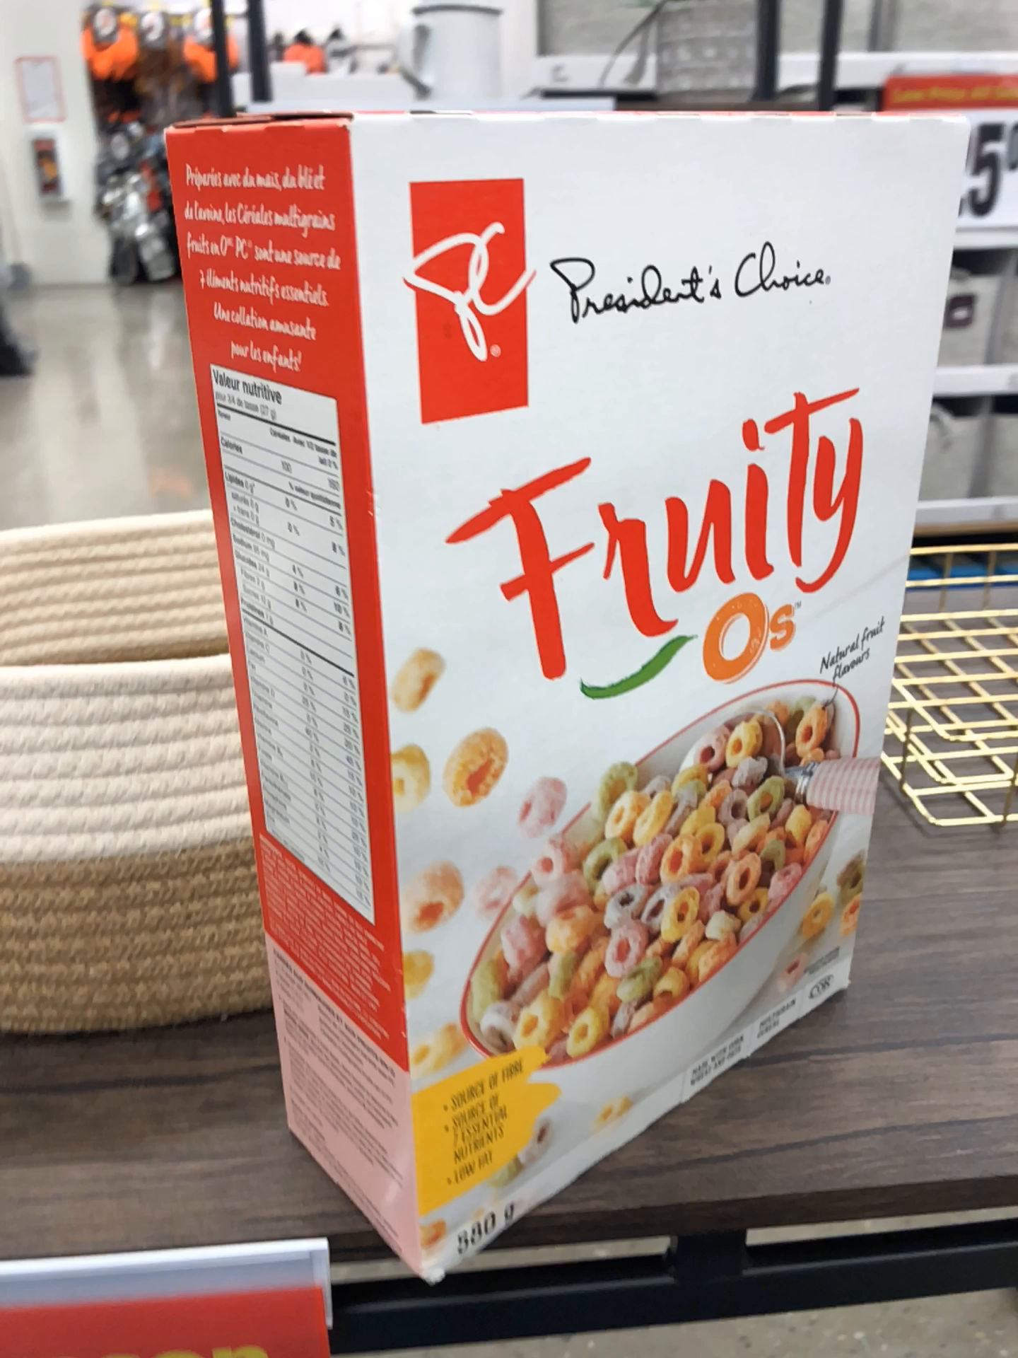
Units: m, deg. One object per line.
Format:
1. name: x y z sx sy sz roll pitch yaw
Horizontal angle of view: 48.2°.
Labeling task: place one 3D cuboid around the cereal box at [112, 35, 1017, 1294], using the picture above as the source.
1. cereal box: 0.032 -0.014 0.322 0.220 0.279 0.080 -20 31 -35
